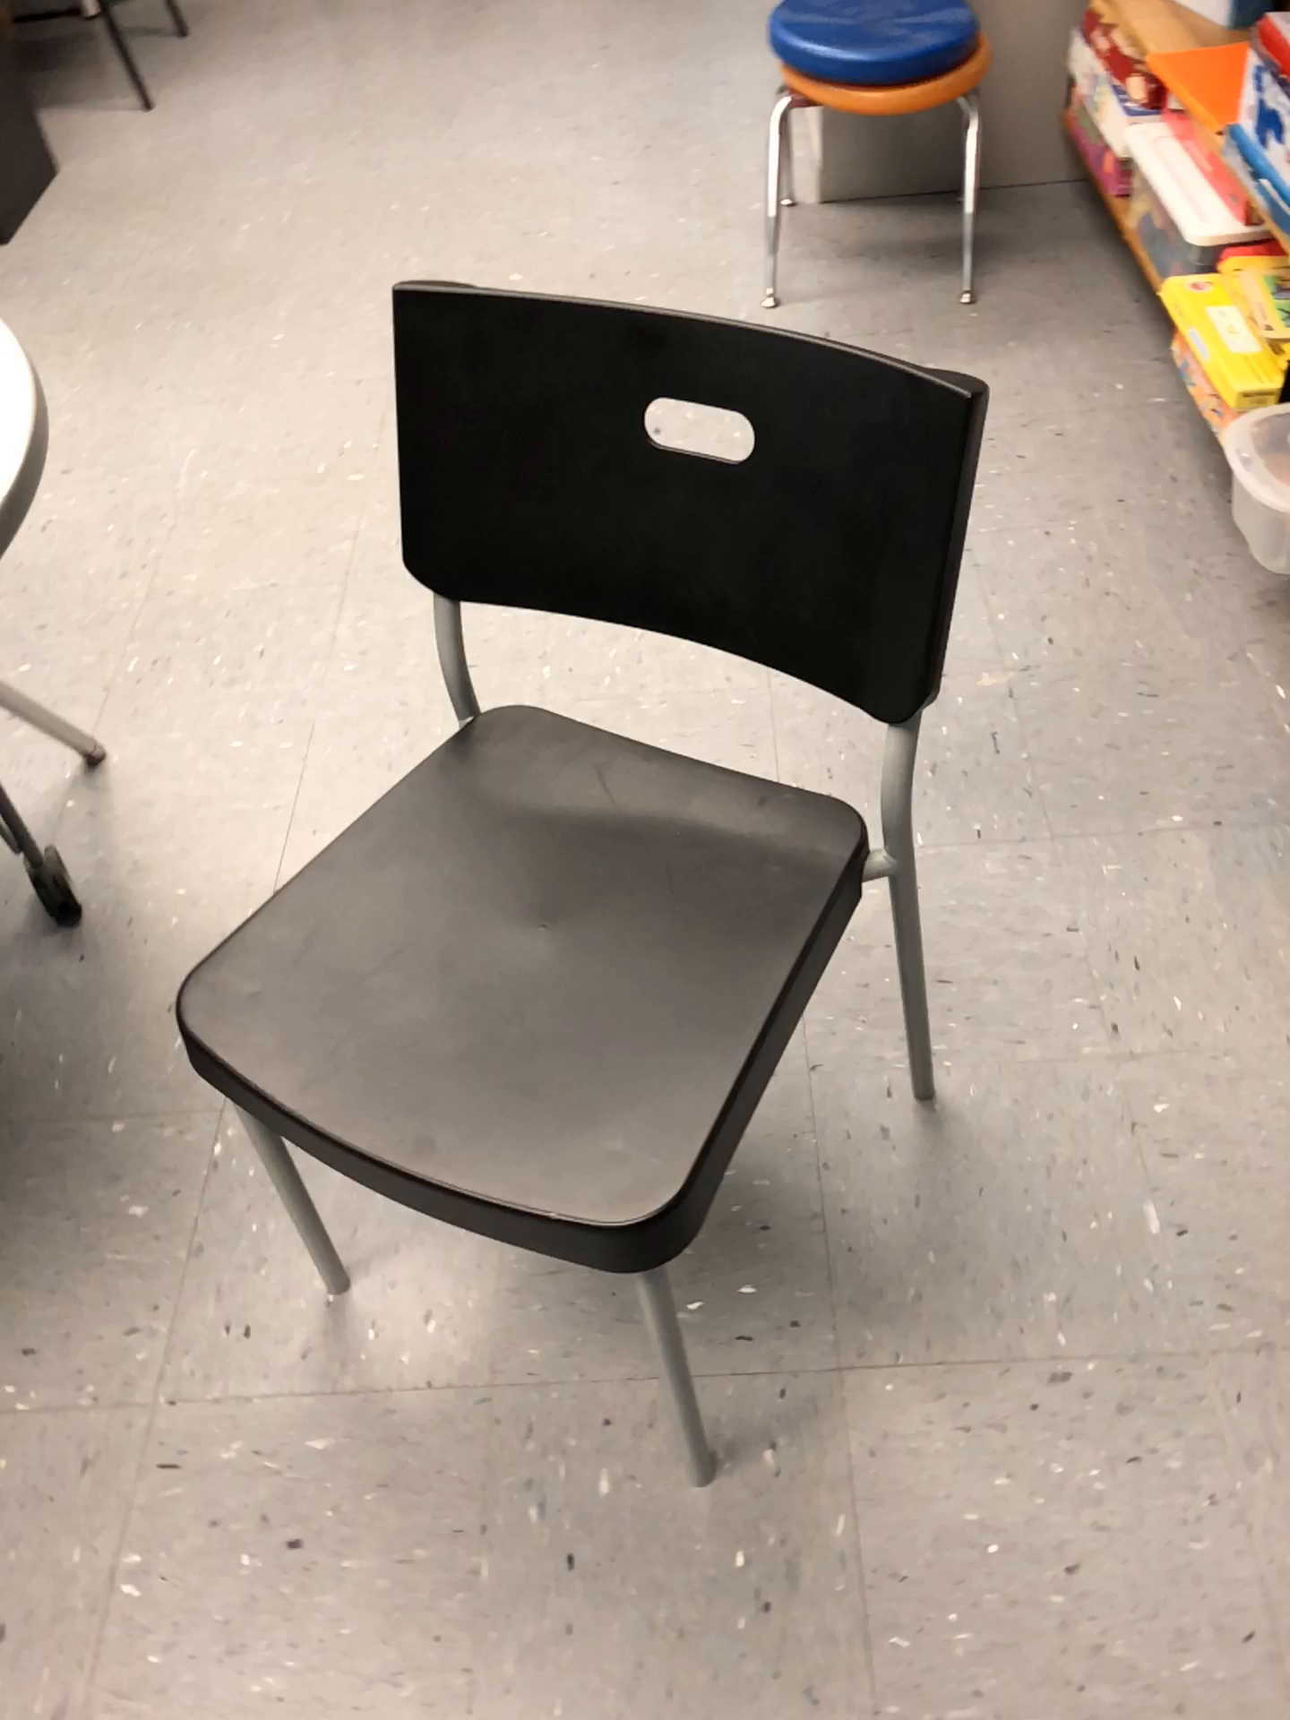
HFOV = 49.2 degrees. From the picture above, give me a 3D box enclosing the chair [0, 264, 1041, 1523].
[{"bbox_3d":[-0.037,0.051,1.099,0.466,0.777,0.474,19,52,23],"label":"chair"}]
